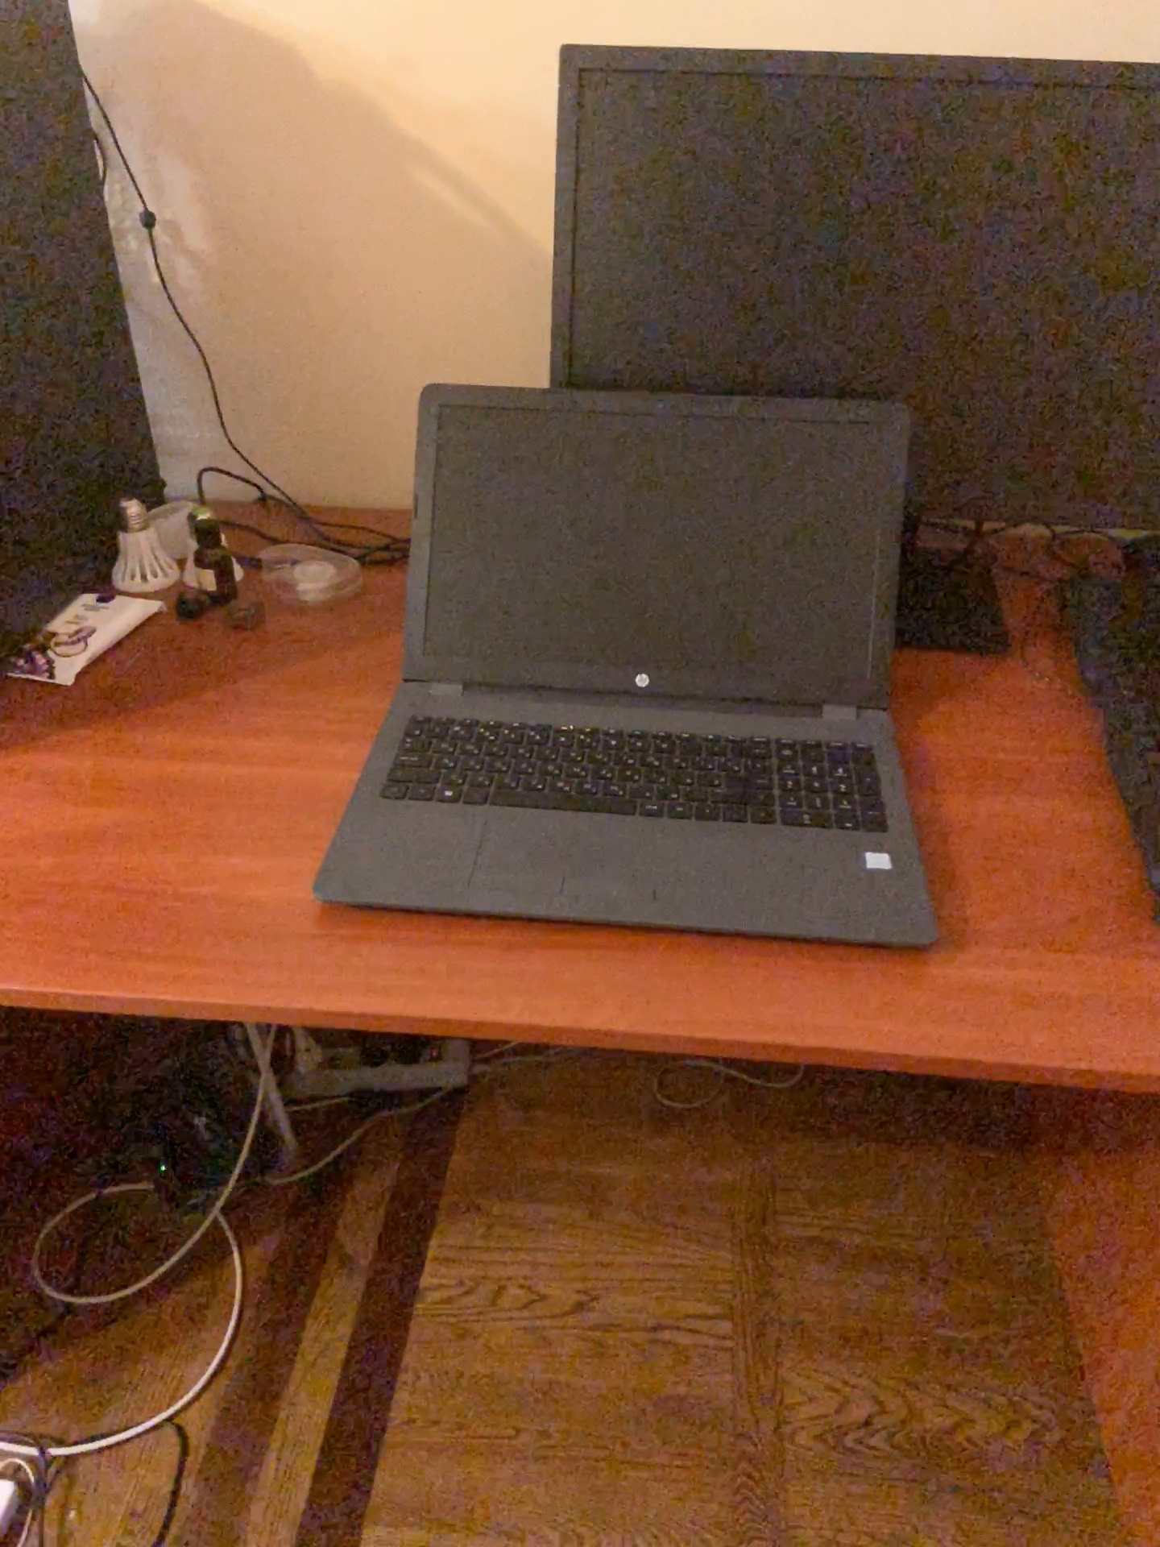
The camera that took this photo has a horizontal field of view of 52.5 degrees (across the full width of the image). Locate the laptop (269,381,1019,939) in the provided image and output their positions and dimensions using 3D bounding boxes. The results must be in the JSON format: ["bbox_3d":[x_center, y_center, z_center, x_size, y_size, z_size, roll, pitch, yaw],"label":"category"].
[{"bbox_3d":[0.044,-0.105,0.796,0.372,0.188,0.394,4,35,3],"label":"laptop"}]
